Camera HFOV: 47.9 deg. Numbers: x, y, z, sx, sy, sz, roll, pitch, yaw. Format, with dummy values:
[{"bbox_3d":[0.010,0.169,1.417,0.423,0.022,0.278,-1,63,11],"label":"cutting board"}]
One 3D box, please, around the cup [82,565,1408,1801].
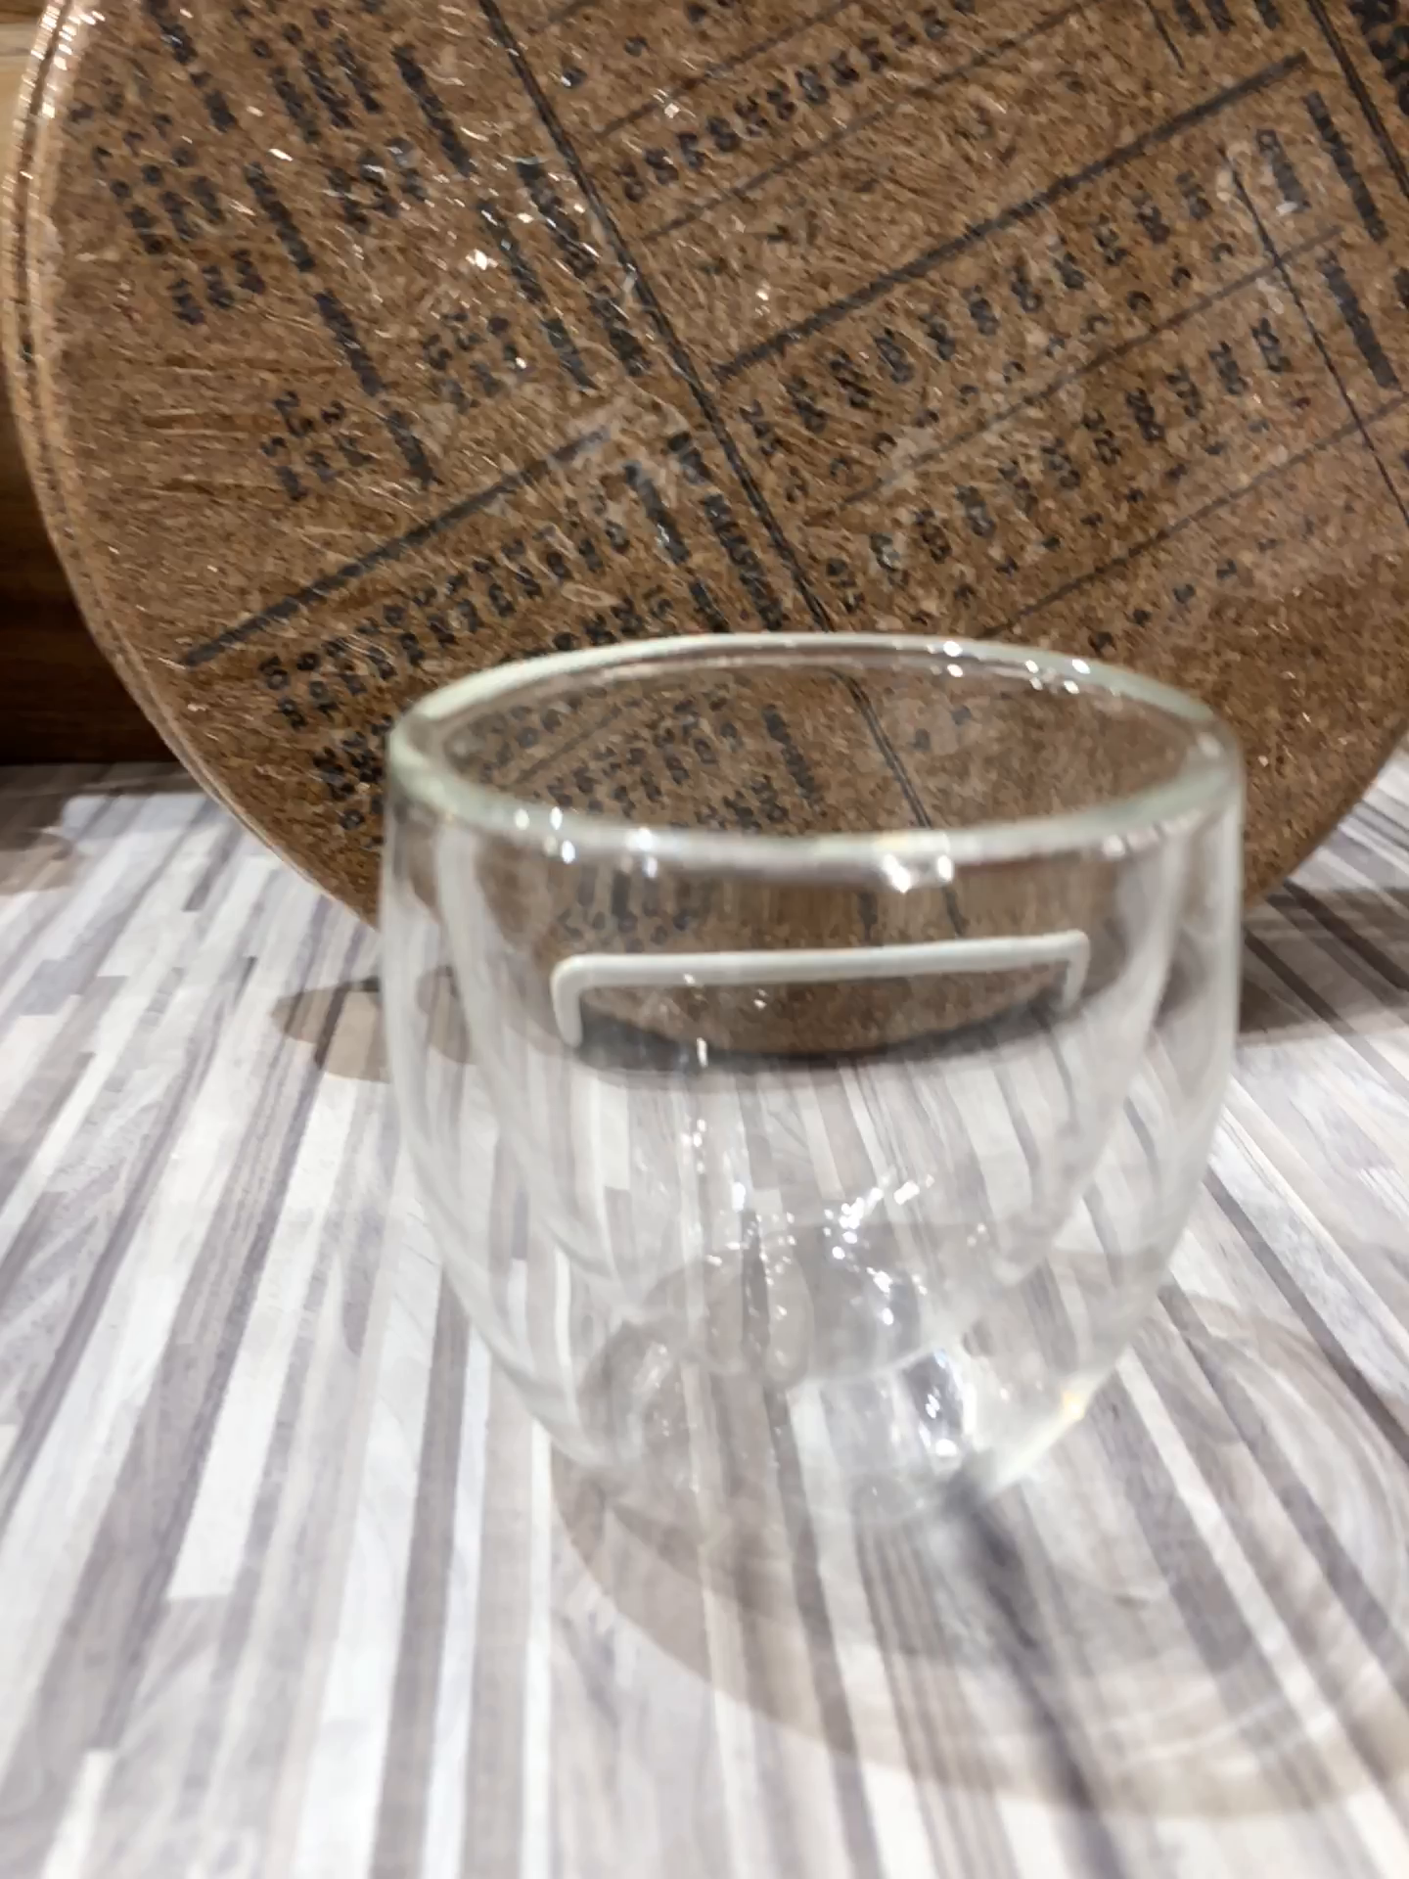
[{"bbox_3d":[0.010,0.005,0.118,0.070,0.050,0.070,-1,22,0],"label":"cup"}]
